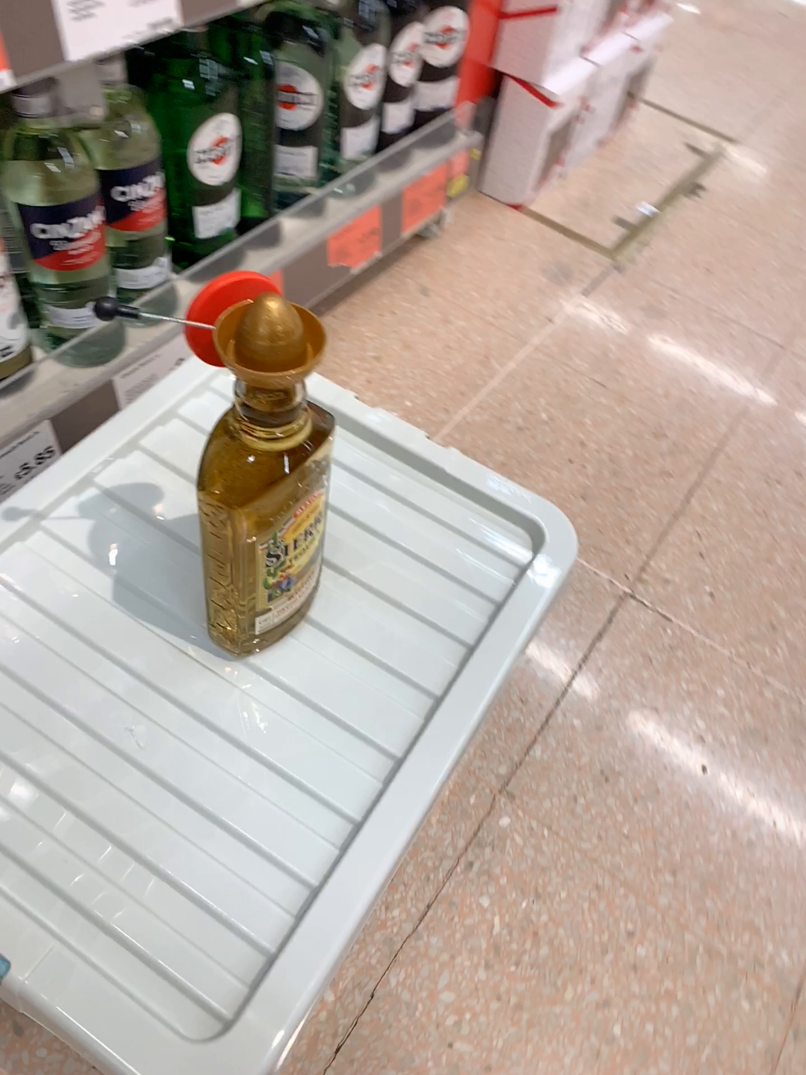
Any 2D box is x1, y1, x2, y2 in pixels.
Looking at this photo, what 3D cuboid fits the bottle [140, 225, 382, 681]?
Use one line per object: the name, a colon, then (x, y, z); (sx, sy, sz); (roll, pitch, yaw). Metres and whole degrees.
bottle: (-0.080, -0.030, 0.471); (0.058, 0.258, 0.101); (31, 54, 13)
